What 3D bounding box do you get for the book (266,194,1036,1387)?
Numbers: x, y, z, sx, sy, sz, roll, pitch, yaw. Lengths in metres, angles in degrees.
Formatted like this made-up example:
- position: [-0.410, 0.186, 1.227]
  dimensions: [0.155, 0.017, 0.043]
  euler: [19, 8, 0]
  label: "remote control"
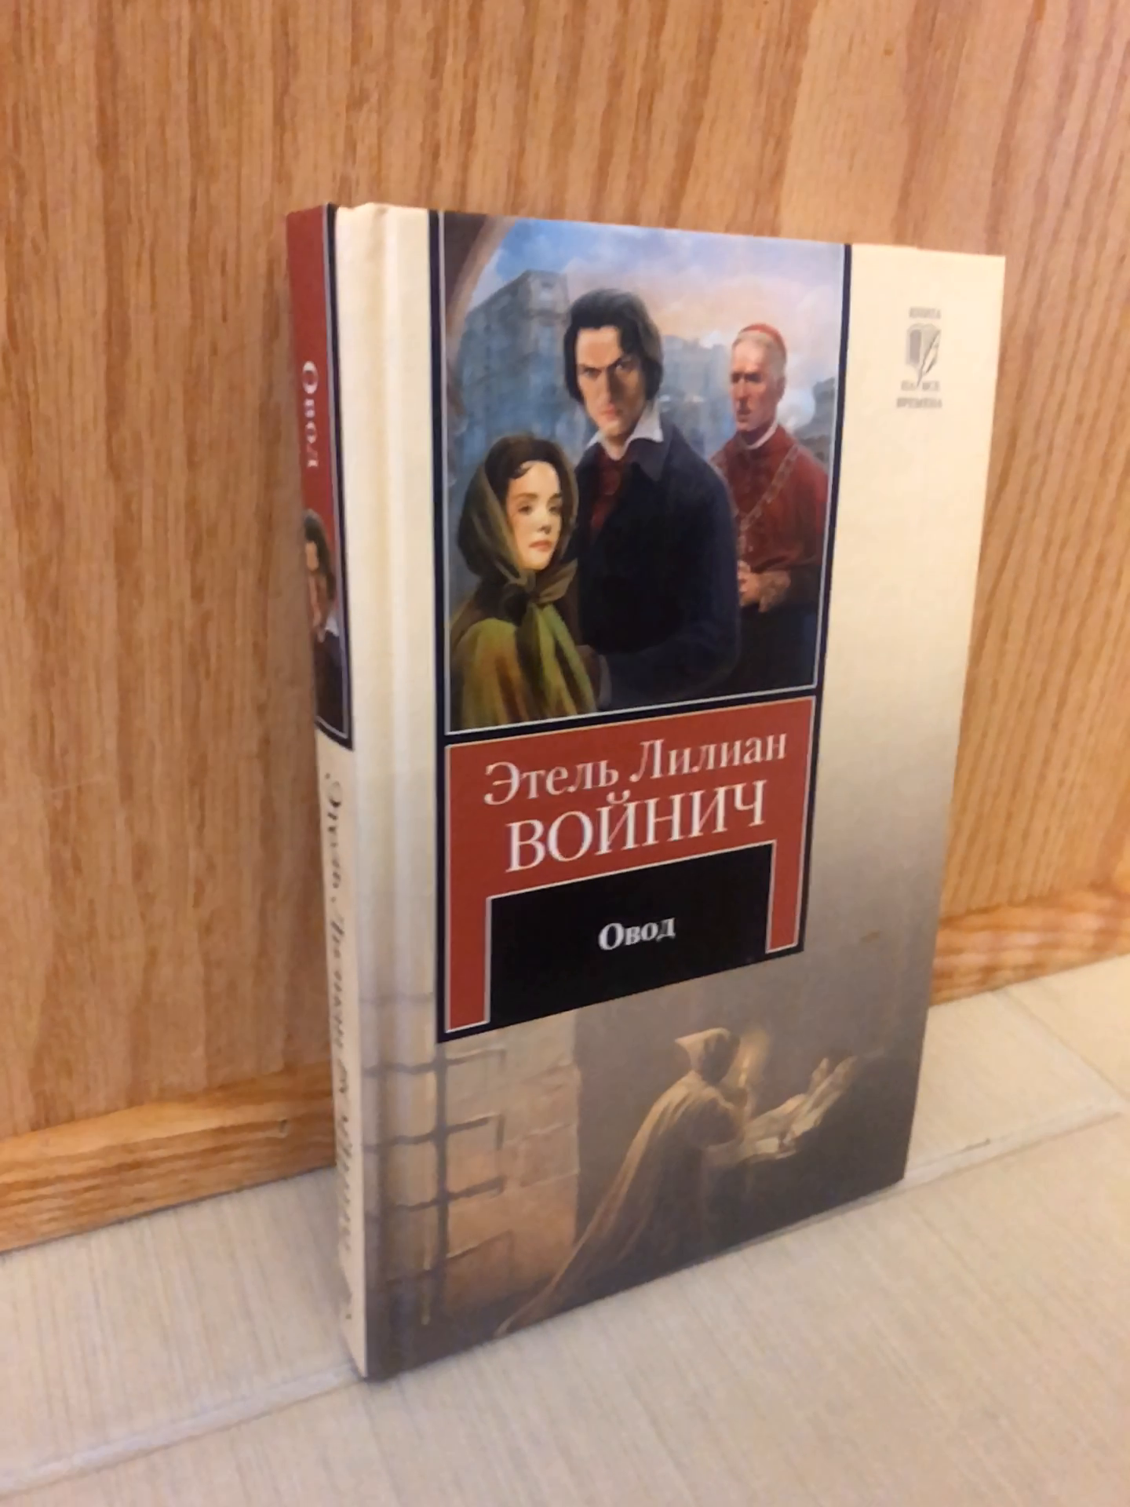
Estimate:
- position: [0.019, 0.007, 0.249]
  dimensions: [0.140, 0.203, 0.030]
  euler: [-8, 18, -27]
  label: "book"
